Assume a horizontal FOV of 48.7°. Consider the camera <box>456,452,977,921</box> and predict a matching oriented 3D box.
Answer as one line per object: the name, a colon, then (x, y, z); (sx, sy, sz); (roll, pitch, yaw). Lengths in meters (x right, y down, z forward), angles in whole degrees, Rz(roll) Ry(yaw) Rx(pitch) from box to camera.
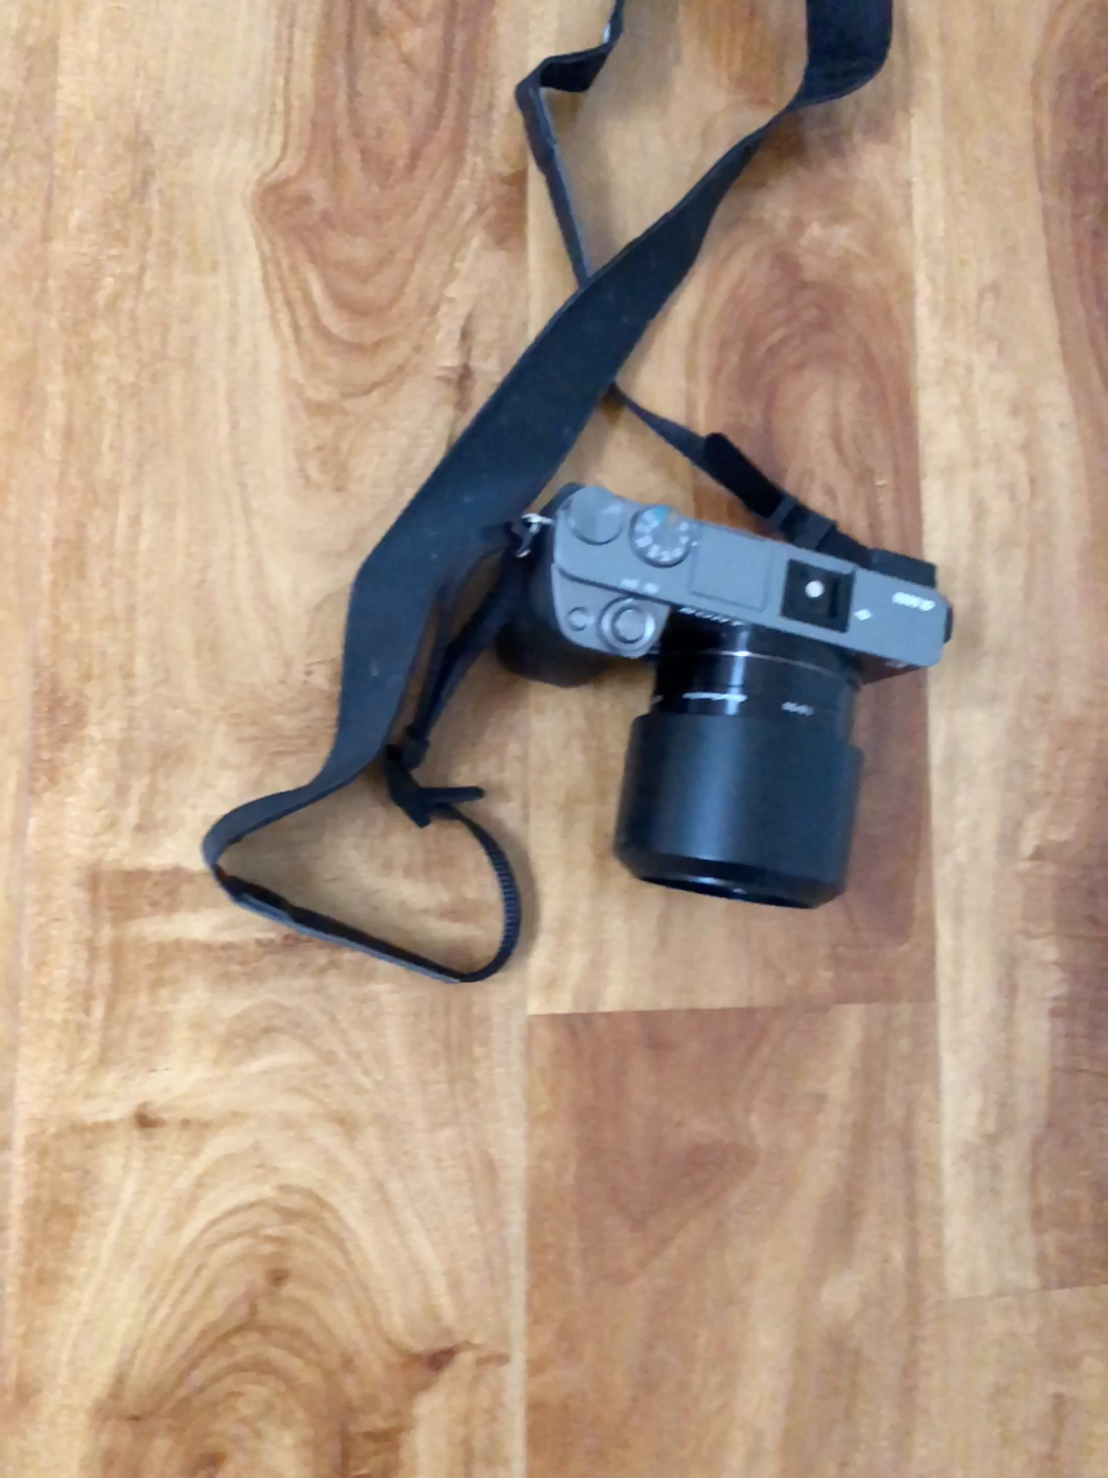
camera: (0.049, -0.009, 0.378); (0.130, 0.070, 0.110); (11, 80, -15)
